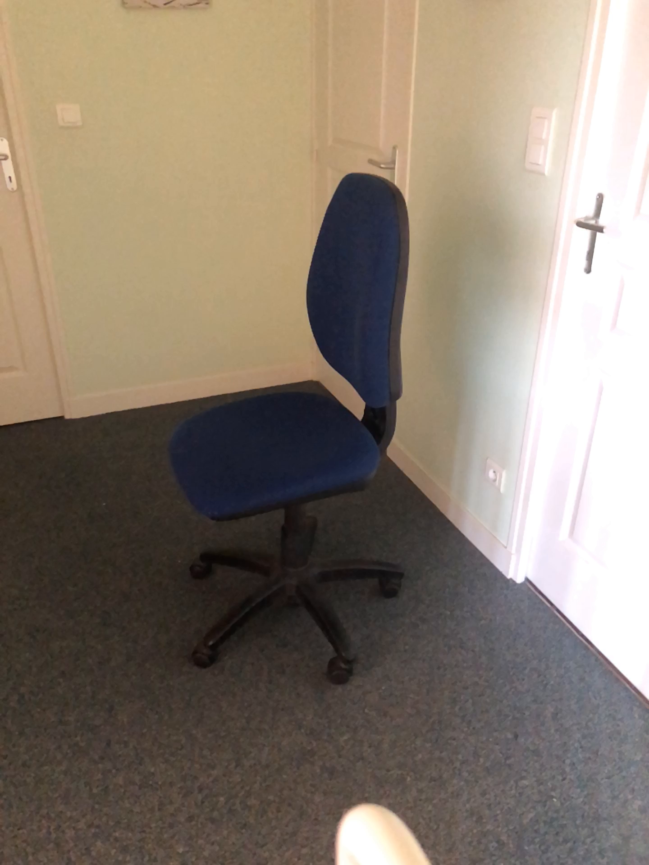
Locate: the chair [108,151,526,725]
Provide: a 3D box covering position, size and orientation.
[{"bbox_3d":[-0.073,-0.047,1.738,0.672,1.114,0.702,-10,29,-20],"label":"chair"}]
